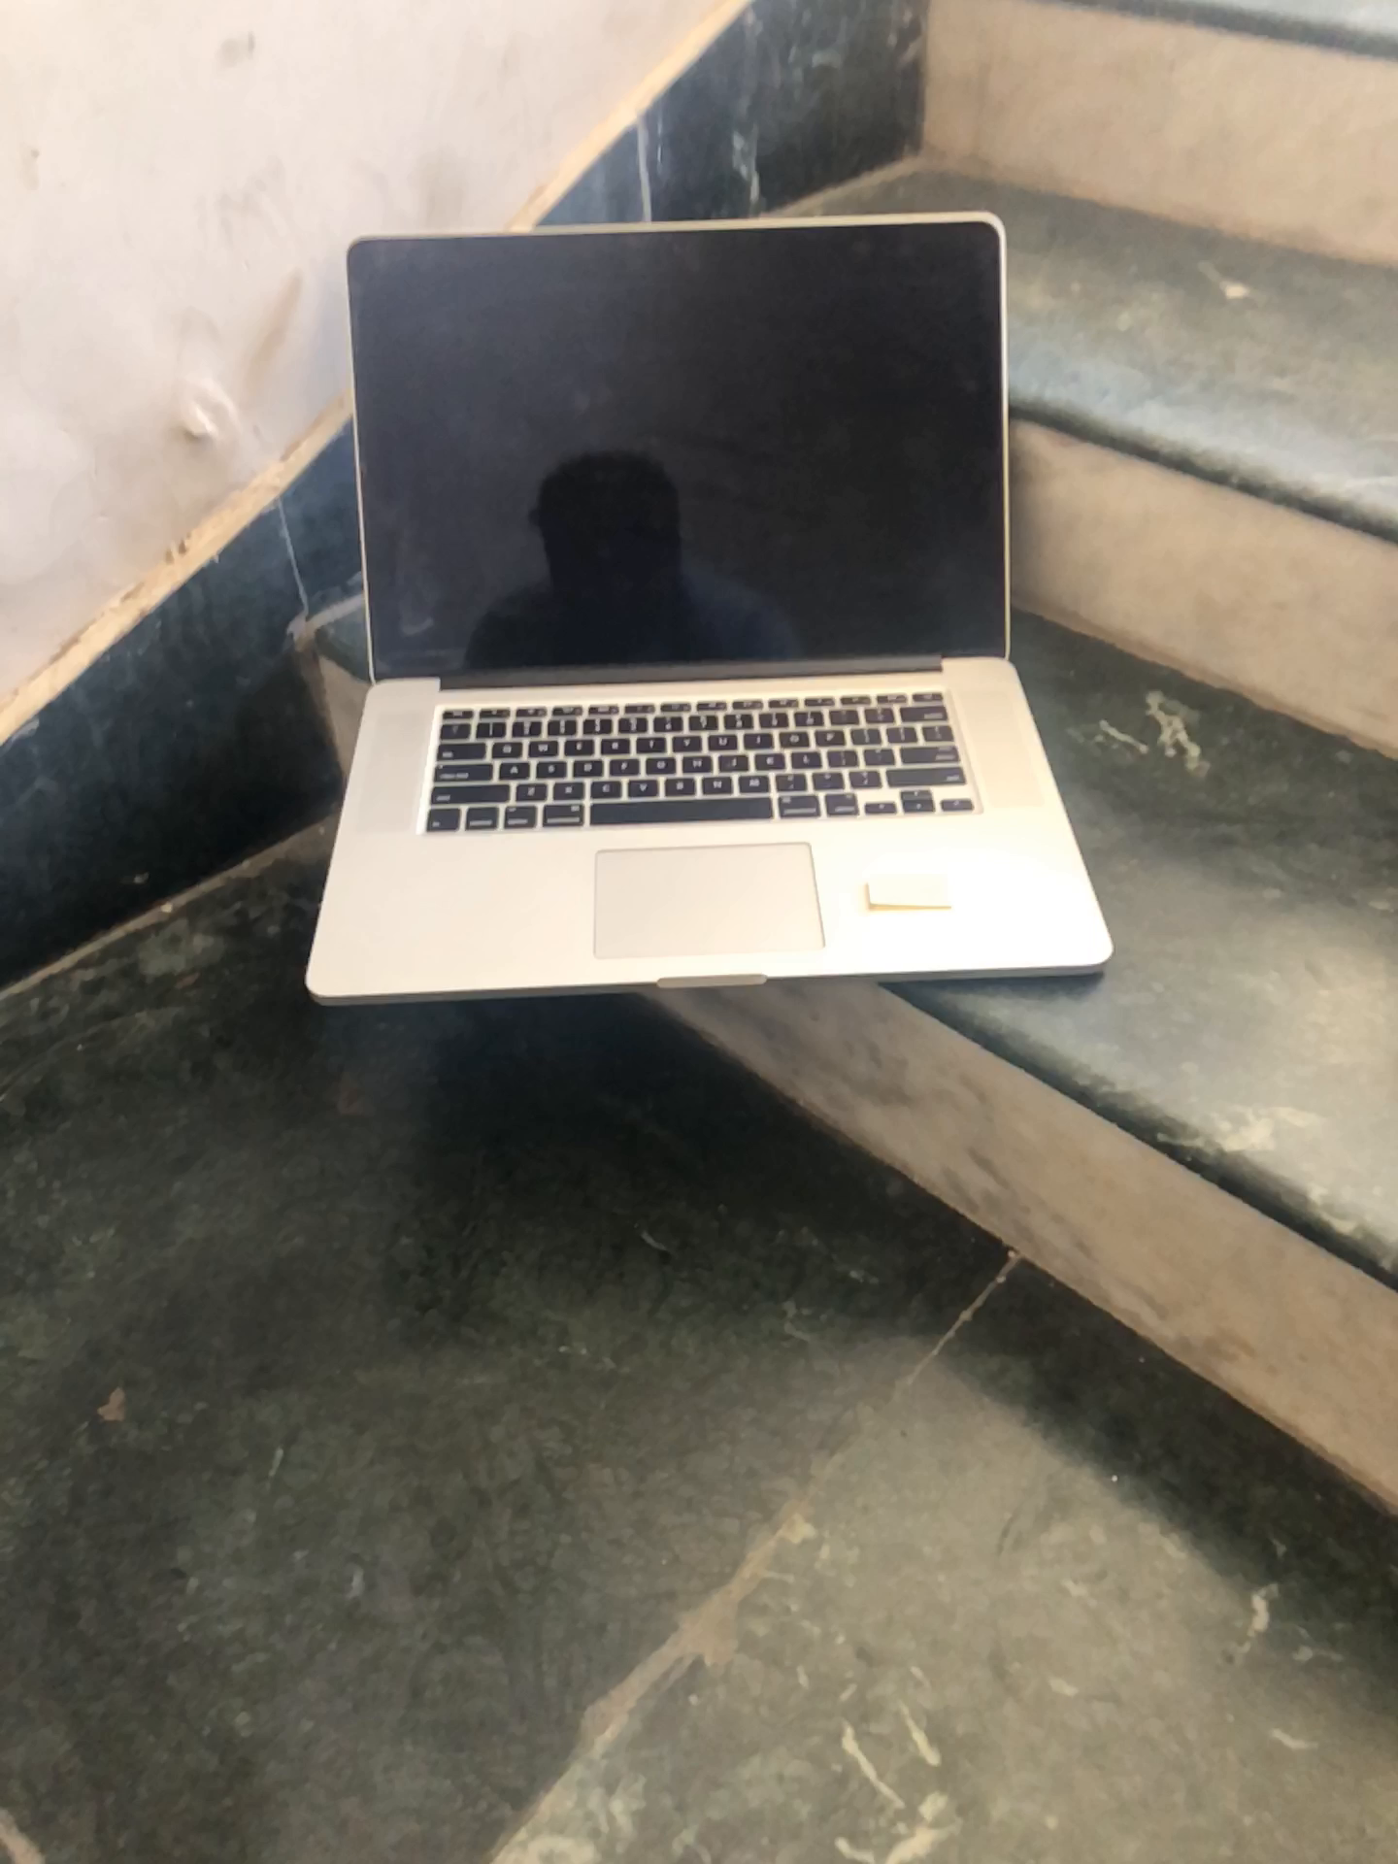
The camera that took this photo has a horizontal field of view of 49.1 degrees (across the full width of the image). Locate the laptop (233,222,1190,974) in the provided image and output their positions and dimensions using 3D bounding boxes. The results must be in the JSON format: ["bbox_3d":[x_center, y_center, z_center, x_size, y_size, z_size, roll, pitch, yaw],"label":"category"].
[{"bbox_3d":[-0.002,-0.182,0.747,0.341,0.193,0.366,-3,41,-1],"label":"laptop"}]
